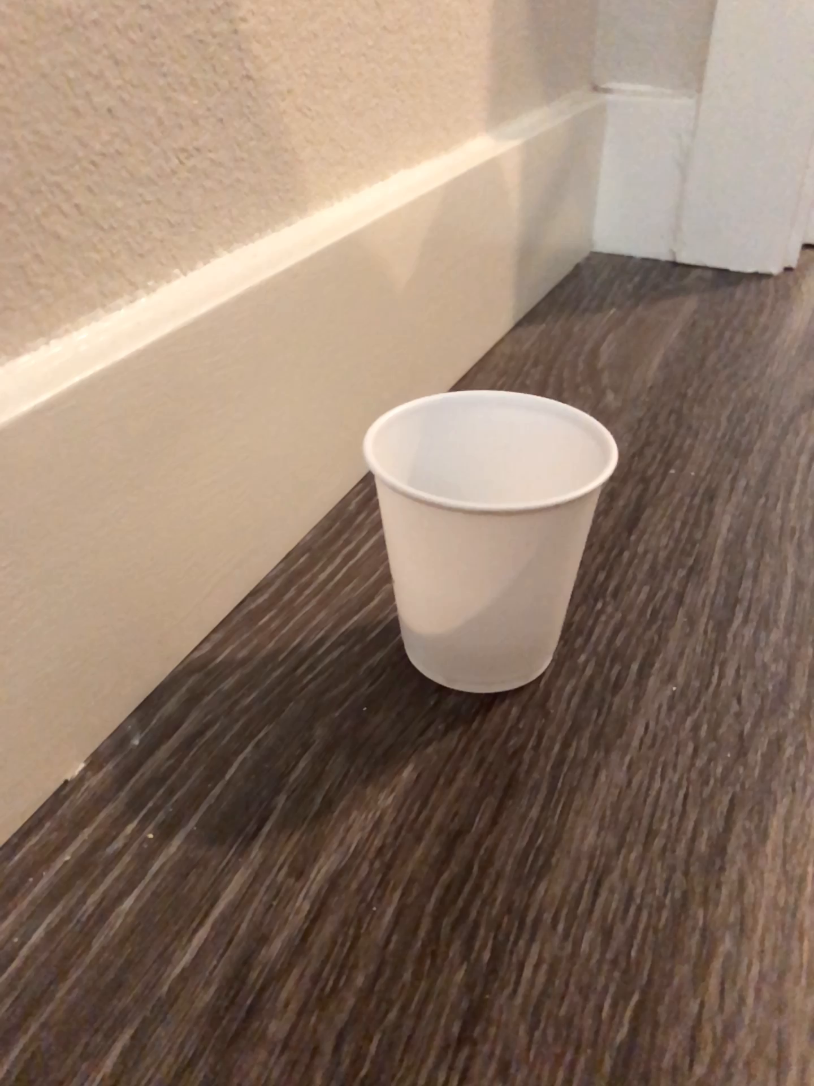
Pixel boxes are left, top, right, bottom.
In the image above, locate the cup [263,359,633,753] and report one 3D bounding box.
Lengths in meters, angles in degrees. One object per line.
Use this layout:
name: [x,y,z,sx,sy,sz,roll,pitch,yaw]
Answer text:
cup: [0.010,-0.001,0.225,0.060,0.060,0.060,0,33,0]
